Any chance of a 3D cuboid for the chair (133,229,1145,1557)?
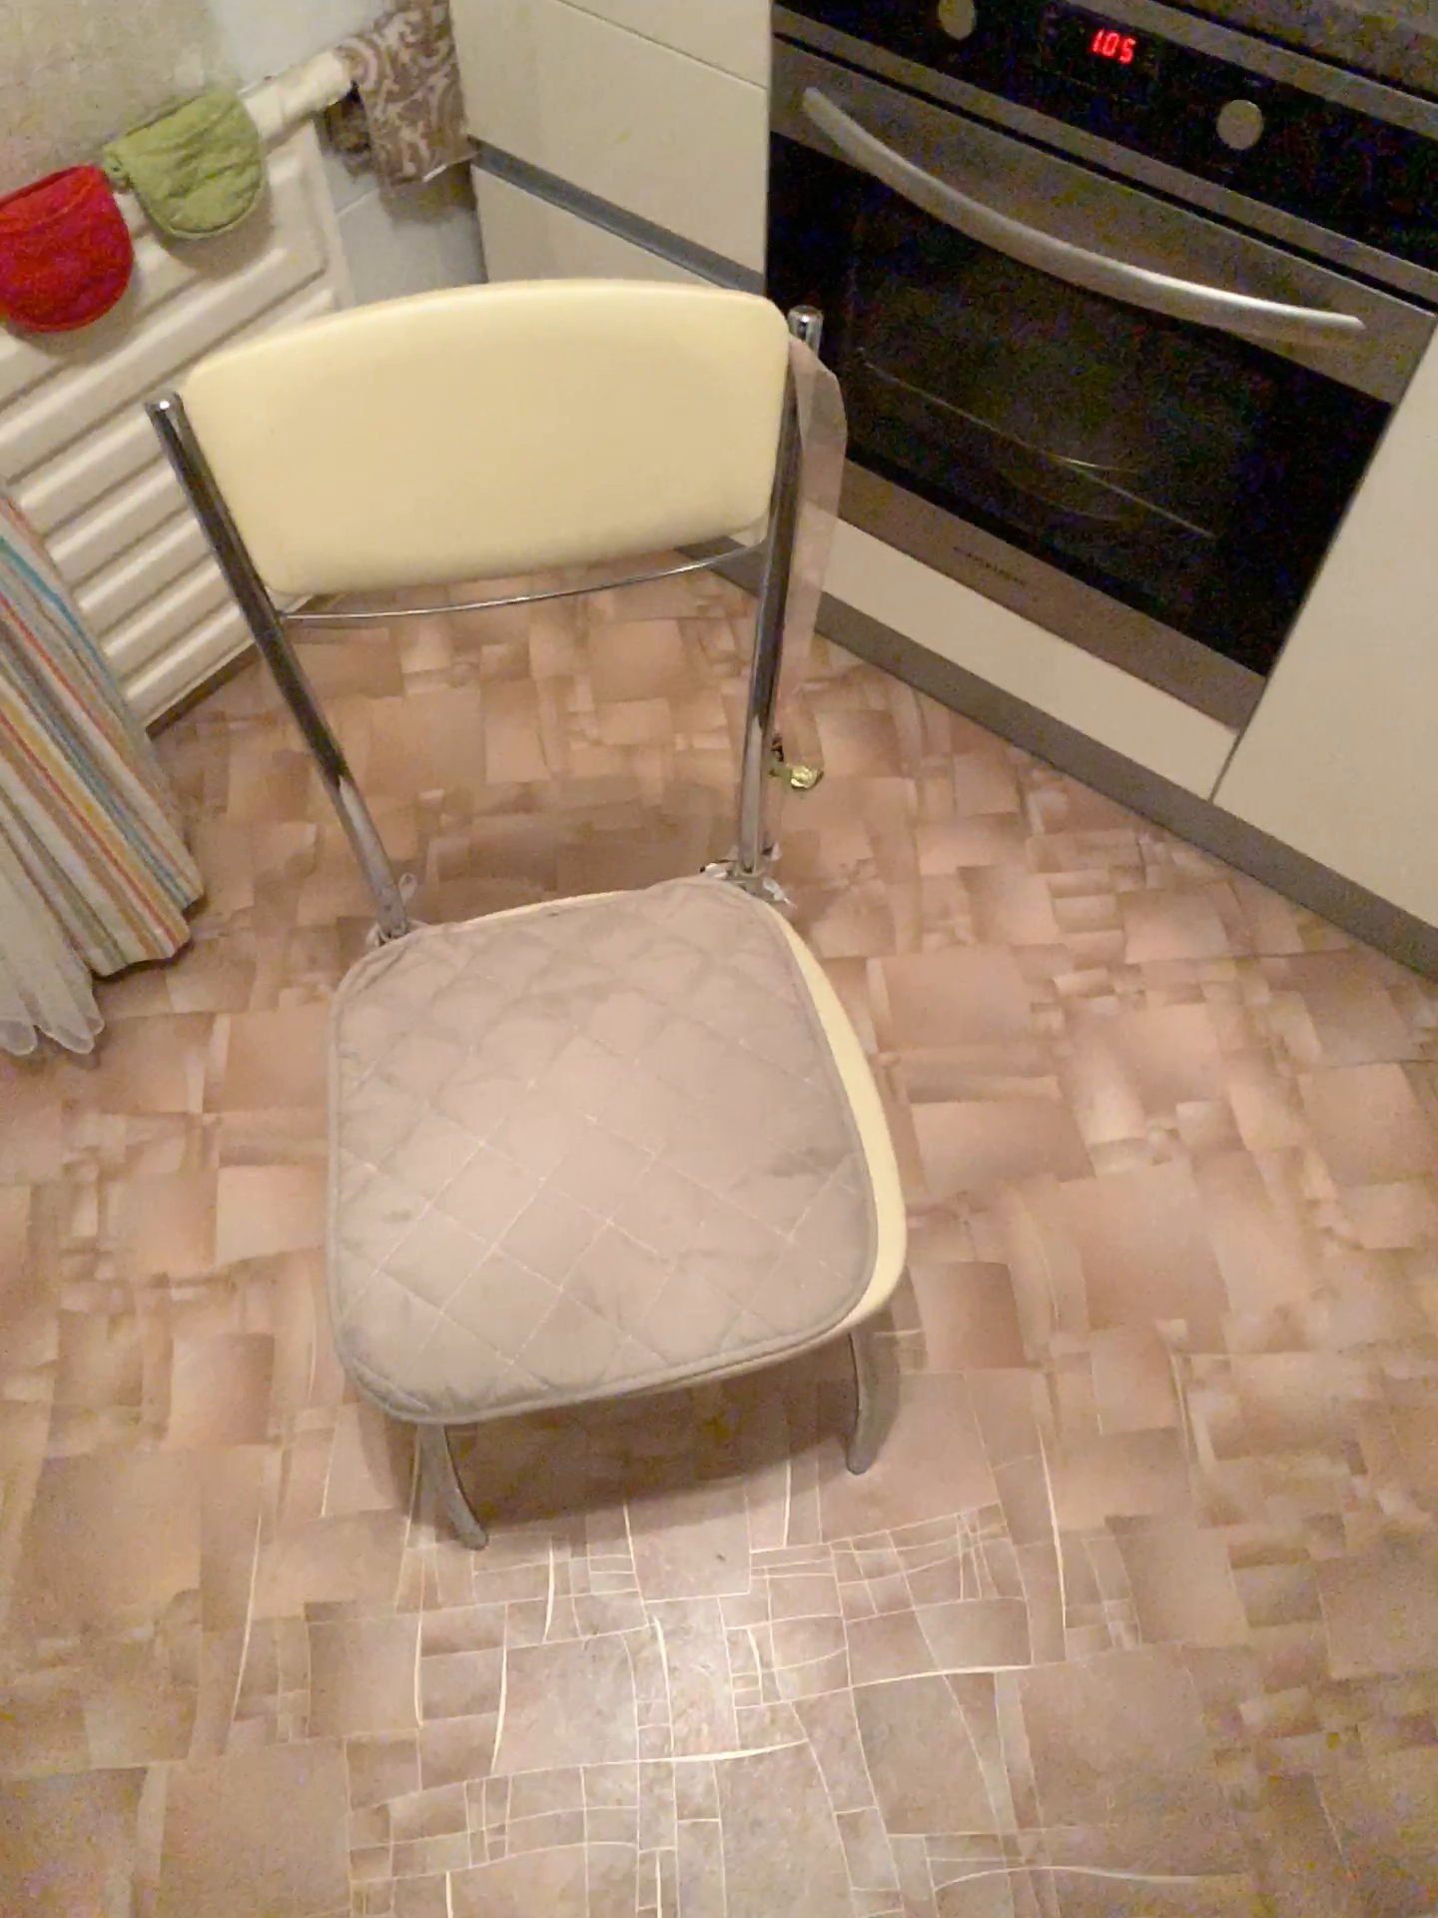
[{"bbox_3d":[-0.072,0.051,1.039,0.384,0.855,0.493,-10,59,-6],"label":"chair"}]
